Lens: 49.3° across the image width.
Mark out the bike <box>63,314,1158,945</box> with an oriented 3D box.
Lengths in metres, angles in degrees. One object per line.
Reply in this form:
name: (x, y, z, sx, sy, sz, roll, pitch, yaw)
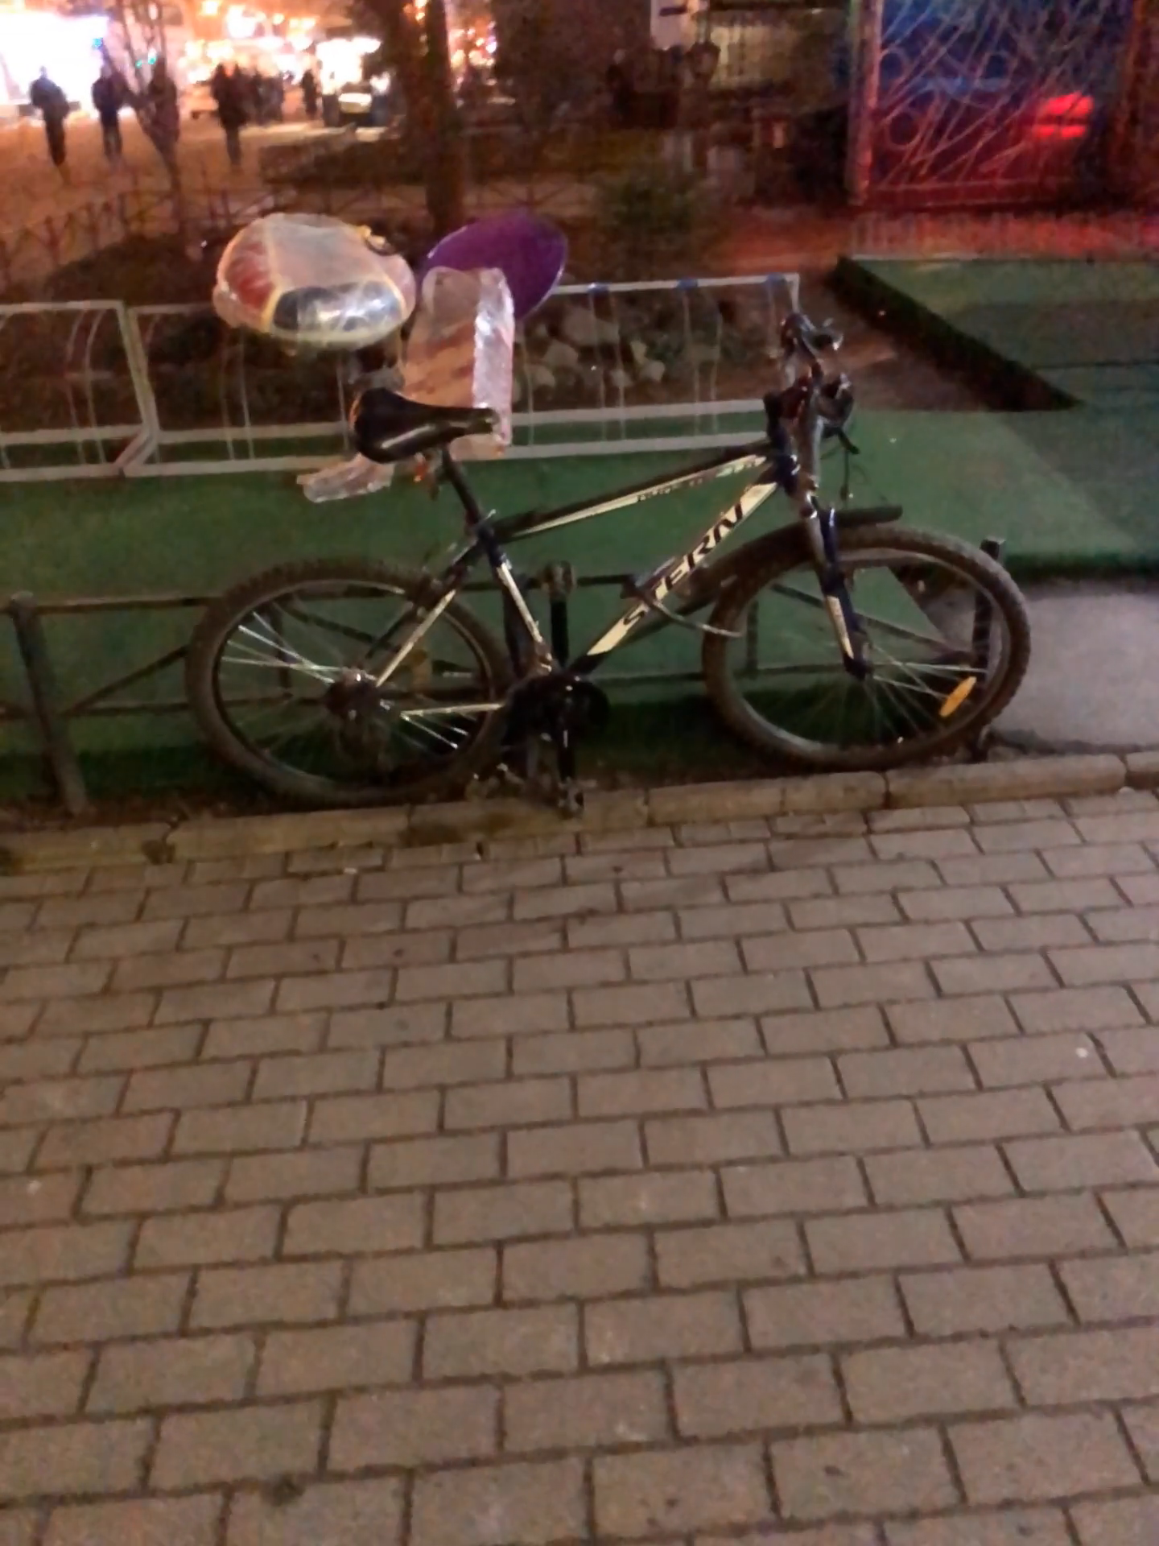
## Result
bike: (0.060, -0.254, 2.103, 1.456, 0.883, 0.533, -1, 27, -2)
